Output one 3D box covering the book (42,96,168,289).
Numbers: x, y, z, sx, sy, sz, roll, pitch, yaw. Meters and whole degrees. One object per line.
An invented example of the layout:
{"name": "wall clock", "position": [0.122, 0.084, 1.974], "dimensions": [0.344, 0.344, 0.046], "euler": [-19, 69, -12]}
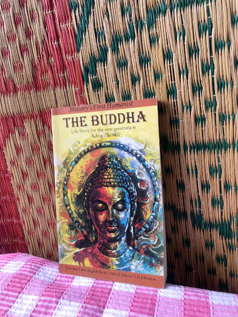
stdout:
{"name": "book", "position": [-0.020, 0.038, 0.321], "dimensions": [0.146, 0.207, 0.030], "euler": [-1, 1, 20]}
